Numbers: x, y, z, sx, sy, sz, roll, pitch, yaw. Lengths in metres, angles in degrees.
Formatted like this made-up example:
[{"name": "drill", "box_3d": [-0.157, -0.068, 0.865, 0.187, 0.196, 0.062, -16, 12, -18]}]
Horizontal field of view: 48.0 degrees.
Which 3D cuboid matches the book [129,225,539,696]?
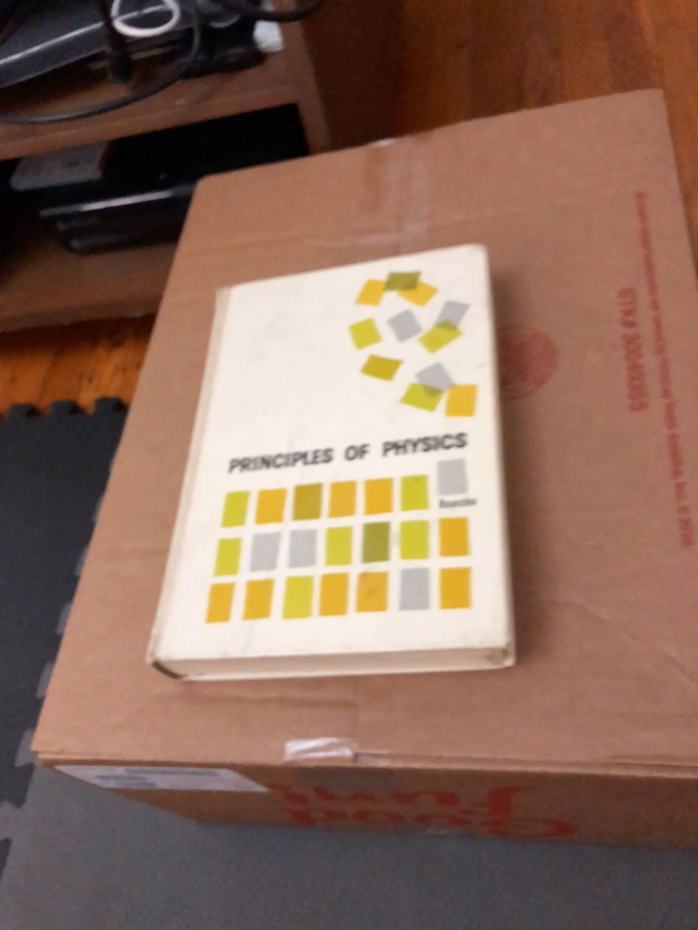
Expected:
[{"name": "book", "box_3d": [-0.001, -0.010, 0.416, 0.180, 0.040, 0.251, -6, 57, 16]}]
